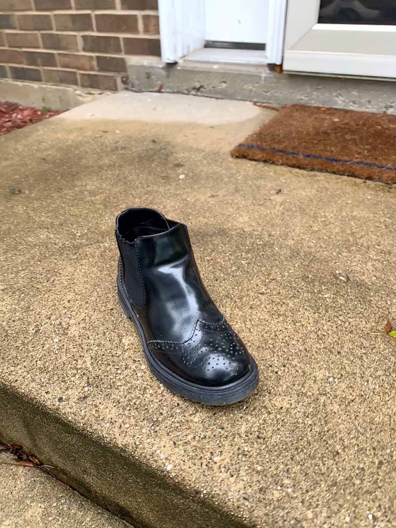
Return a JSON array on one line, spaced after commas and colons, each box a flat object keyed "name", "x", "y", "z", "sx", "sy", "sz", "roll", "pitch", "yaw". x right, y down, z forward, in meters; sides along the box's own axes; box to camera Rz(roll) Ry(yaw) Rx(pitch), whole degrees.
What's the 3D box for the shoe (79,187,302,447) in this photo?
[{"name": "shoe", "x": -0.025, "y": 0.038, "z": 0.482, "sx": 0.118, "sy": 0.148, "sz": 0.268, "roll": -21, "pitch": 40, "yaw": -25}]
